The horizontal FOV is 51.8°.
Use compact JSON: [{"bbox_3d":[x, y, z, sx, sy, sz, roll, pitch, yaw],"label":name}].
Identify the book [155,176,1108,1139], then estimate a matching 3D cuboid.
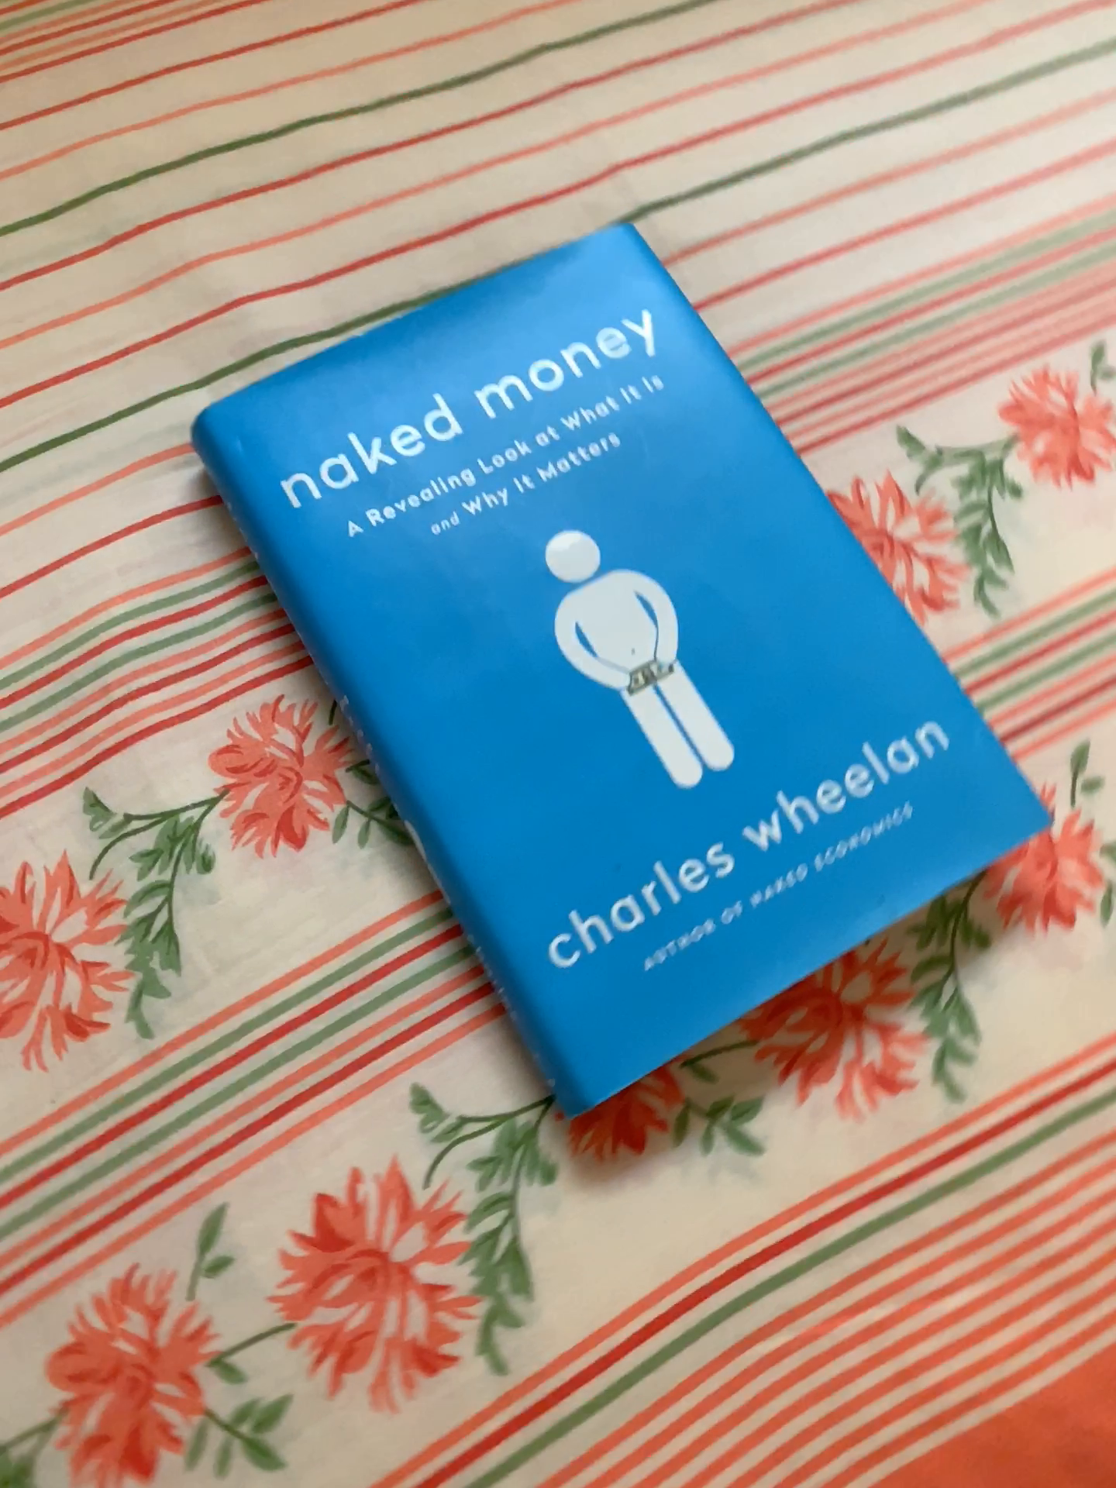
[{"bbox_3d":[0.015,-0.040,0.350,0.170,0.040,0.251,-28,75,-13],"label":"book"}]
